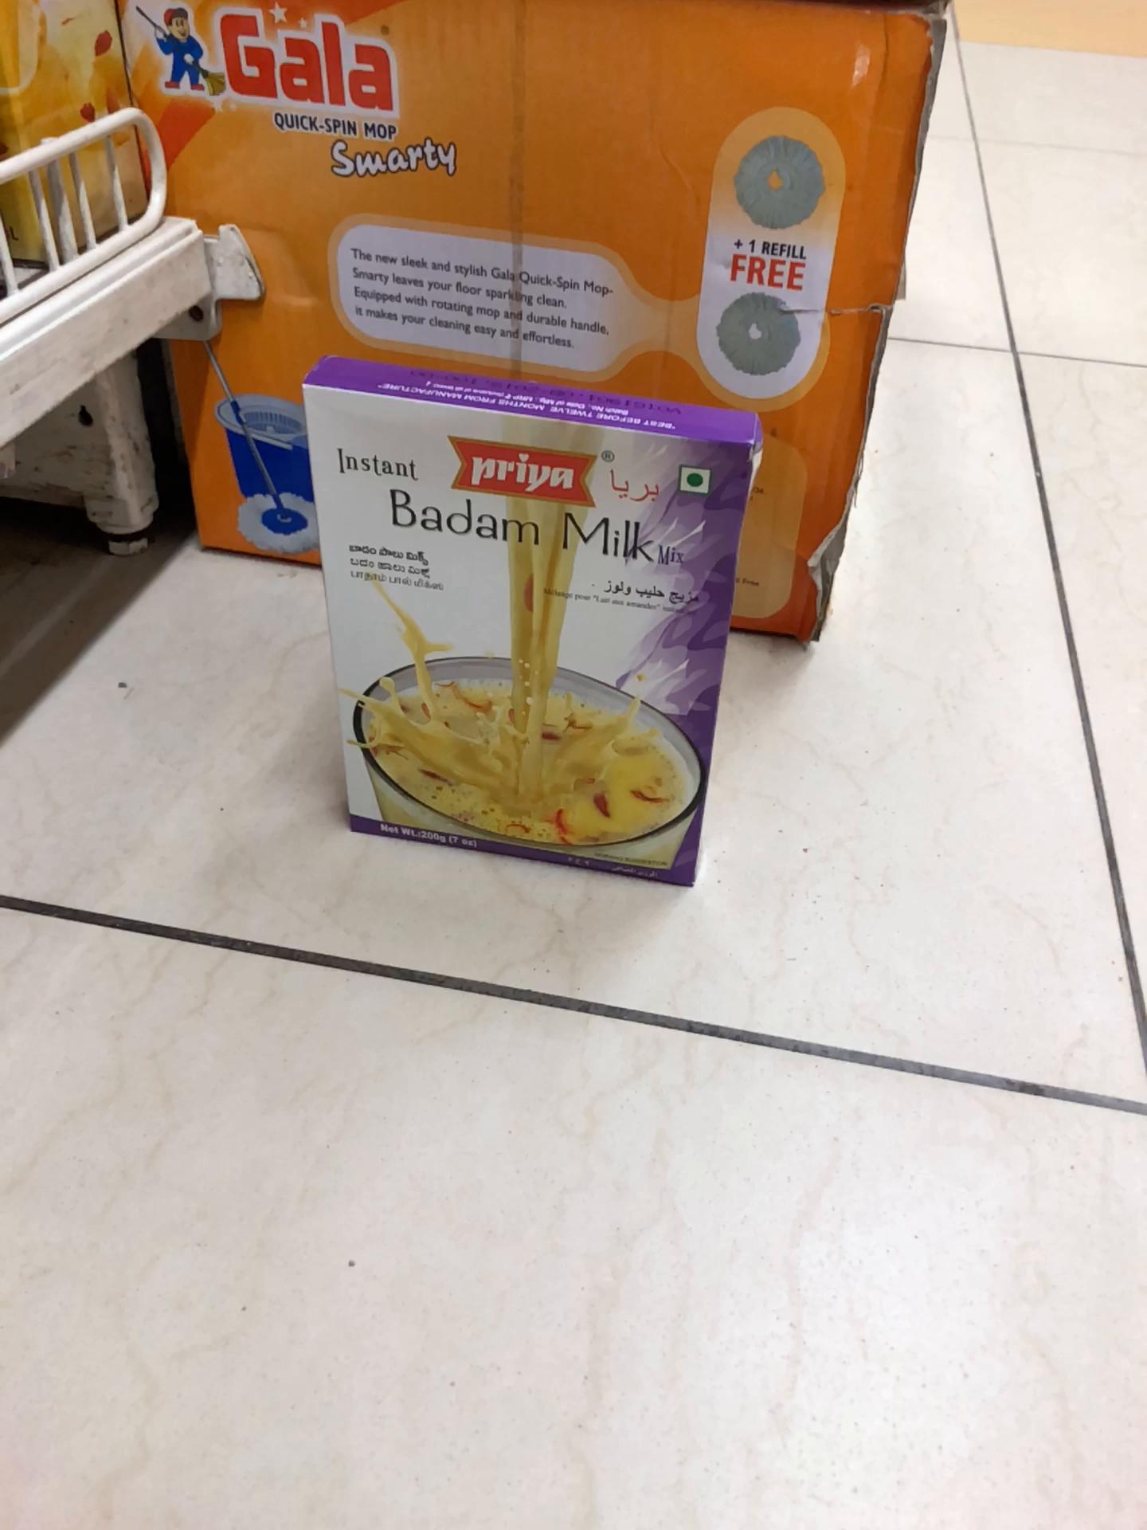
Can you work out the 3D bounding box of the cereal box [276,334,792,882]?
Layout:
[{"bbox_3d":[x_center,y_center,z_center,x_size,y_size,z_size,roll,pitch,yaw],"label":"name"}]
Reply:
[{"bbox_3d":[-0.013,-0.040,0.375,0.130,0.149,0.030,9,38,7],"label":"cereal box"}]
